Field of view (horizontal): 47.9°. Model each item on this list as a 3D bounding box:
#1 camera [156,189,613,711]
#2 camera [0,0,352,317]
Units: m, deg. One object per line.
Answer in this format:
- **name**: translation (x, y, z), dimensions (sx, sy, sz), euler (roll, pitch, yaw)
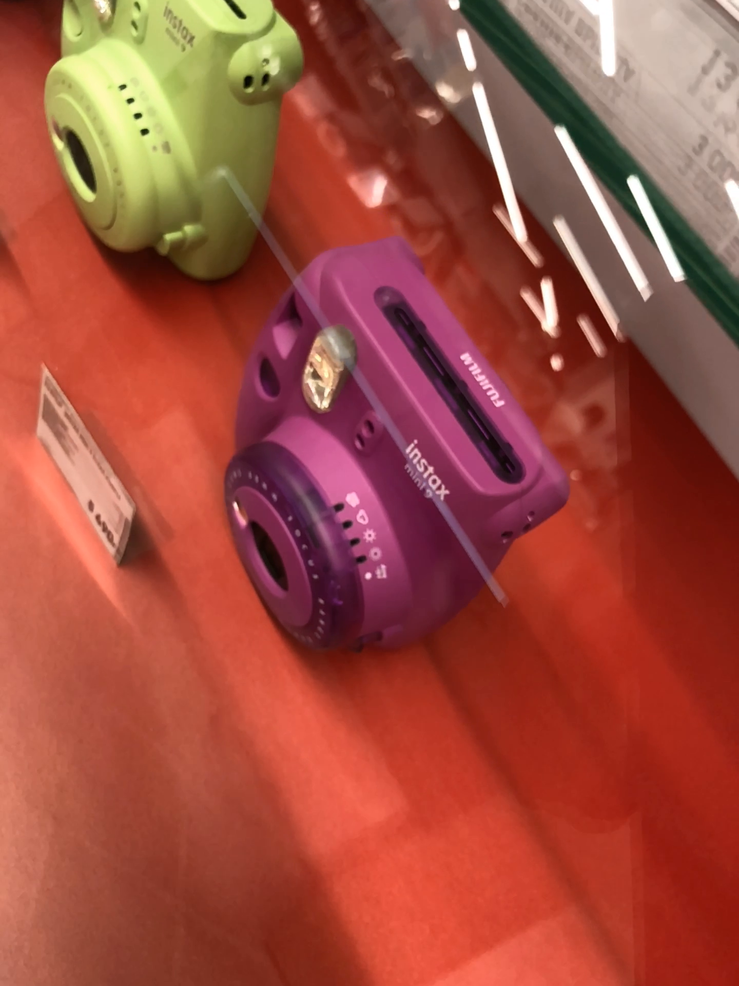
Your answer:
- **camera**: translation (-0.007, -0.011, 0.271), dimensions (0.073, 0.103, 0.117), euler (-23, 72, -27)
- **camera**: translation (-0.089, -0.171, 0.343), dimensions (0.073, 0.118, 0.135), euler (-29, 74, -29)
